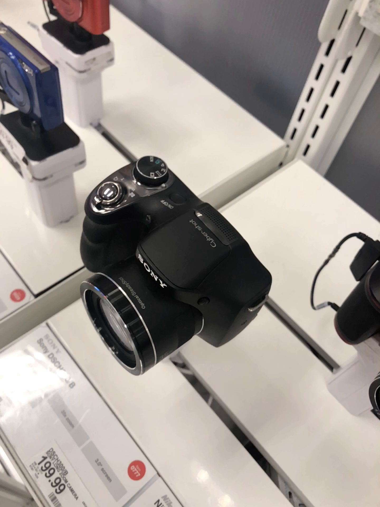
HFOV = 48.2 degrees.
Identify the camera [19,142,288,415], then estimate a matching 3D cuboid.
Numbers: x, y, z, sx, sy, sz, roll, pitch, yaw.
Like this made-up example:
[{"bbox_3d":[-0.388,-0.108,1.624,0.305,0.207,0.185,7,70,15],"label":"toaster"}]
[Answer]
[{"bbox_3d":[-0.024,0.013,0.258,0.087,0.076,0.119,-35,68,-27],"label":"camera"}]
